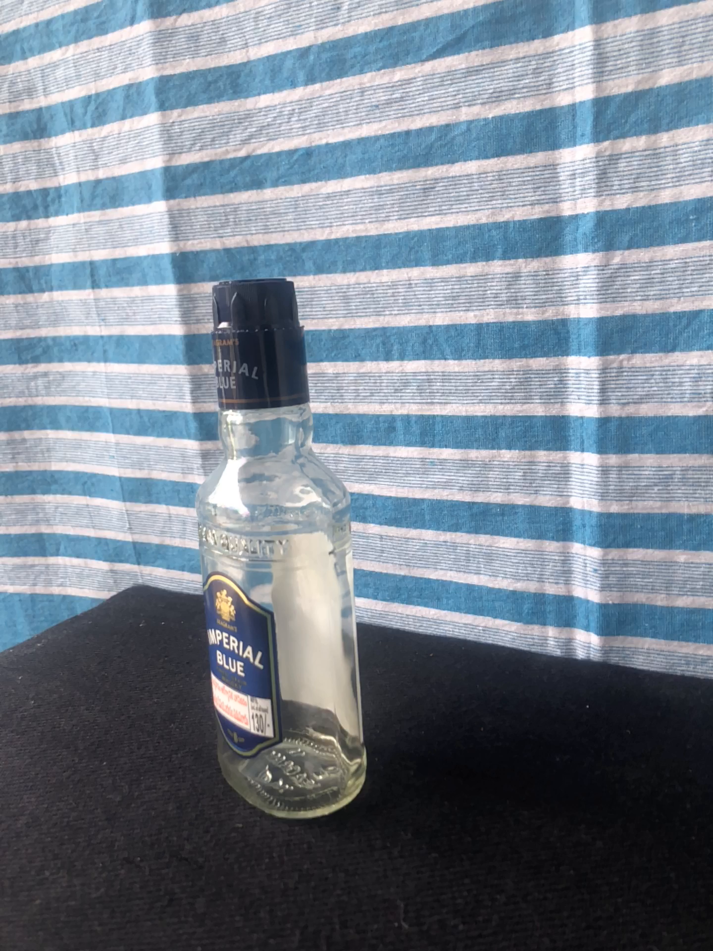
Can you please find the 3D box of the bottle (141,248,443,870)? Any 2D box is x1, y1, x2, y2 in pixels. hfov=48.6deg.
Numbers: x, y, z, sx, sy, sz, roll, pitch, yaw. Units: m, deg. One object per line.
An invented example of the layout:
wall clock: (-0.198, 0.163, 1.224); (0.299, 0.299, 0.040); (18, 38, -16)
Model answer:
bottle: (-0.018, 0.019, 0.246); (0.050, 0.169, 0.070); (-15, 19, -41)
